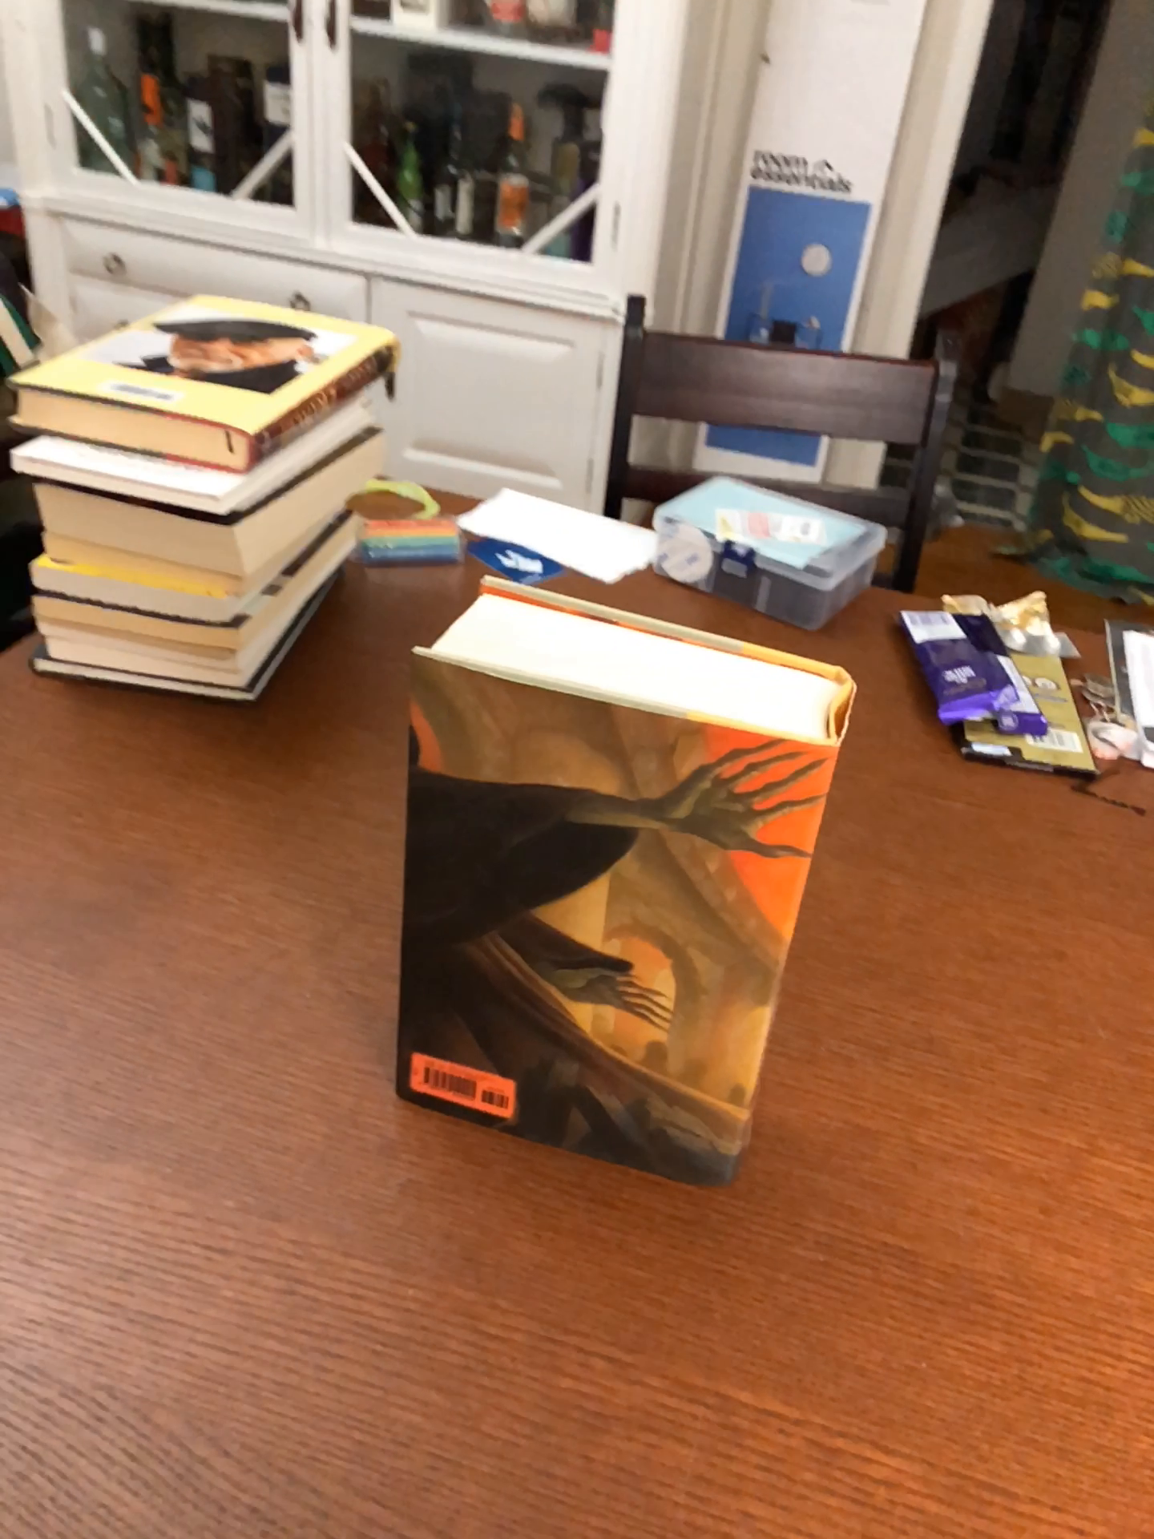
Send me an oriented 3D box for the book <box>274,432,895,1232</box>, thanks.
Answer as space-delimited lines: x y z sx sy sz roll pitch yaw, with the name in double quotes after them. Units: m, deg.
-0.011 0.035 0.530 0.210 0.298 0.070 15 34 13 "book"
